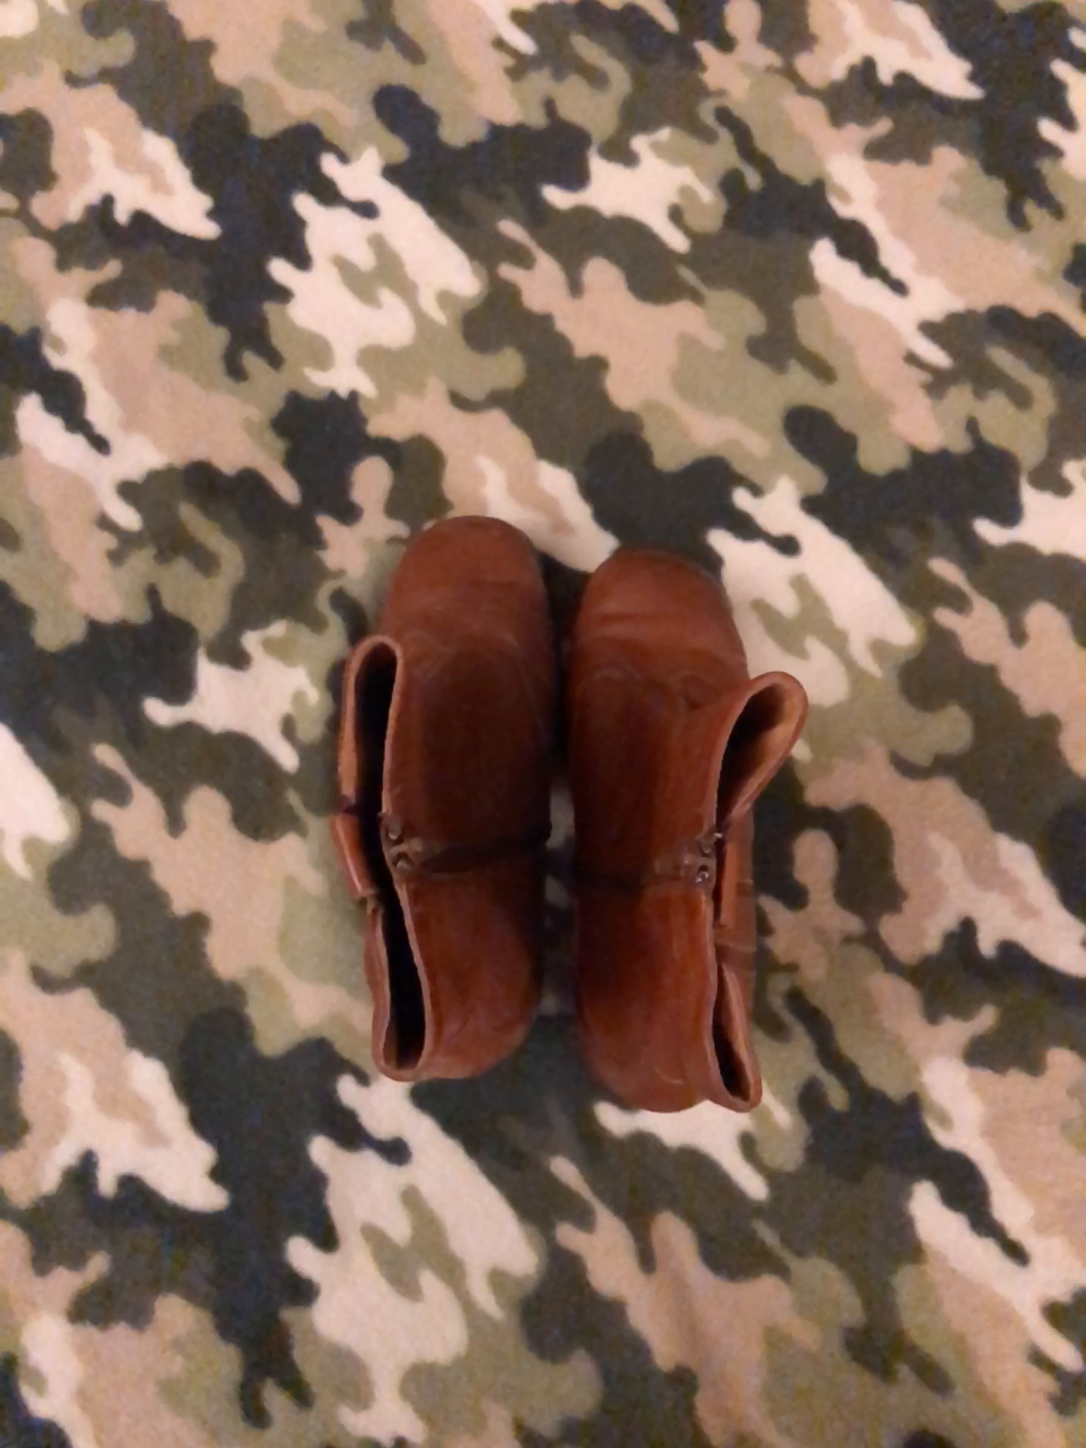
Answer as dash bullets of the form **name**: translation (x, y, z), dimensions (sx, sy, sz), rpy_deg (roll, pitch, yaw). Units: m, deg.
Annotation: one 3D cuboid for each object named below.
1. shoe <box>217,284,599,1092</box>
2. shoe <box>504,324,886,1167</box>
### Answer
- **shoe**: translation (-0.032, 0.004, 0.410), dimensions (0.090, 0.190, 0.220), rpy_deg (1, 76, 0)
- **shoe**: translation (0.044, 0.018, 0.406), dimensions (0.090, 0.190, 0.220), rpy_deg (4, 76, 1)
